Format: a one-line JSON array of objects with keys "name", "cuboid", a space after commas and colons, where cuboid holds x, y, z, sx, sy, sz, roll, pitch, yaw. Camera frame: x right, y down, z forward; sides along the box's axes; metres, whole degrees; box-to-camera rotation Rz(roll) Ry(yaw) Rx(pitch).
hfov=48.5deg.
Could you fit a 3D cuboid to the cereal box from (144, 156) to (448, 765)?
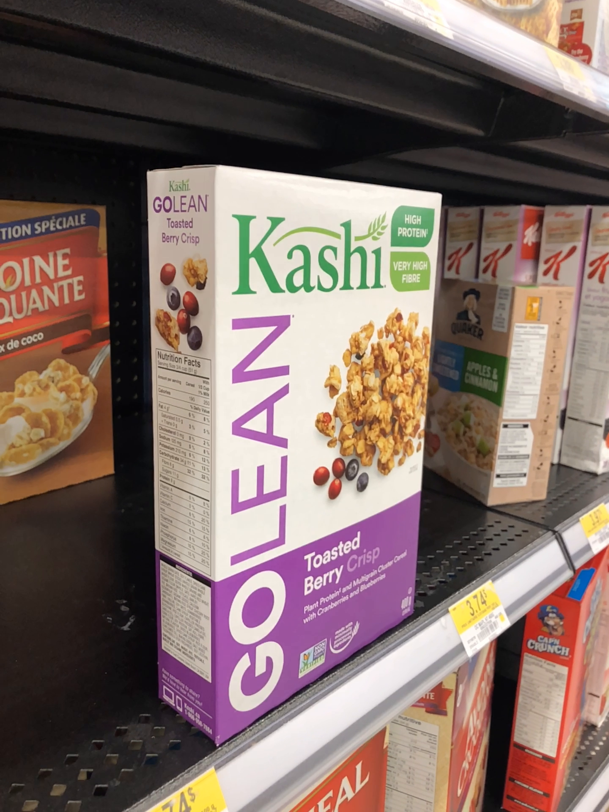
[{"name": "cereal box", "cuboid": [0.001, 0.019, 0.365, 0.050, 0.269, 0.170, 13, 17, 39]}]
